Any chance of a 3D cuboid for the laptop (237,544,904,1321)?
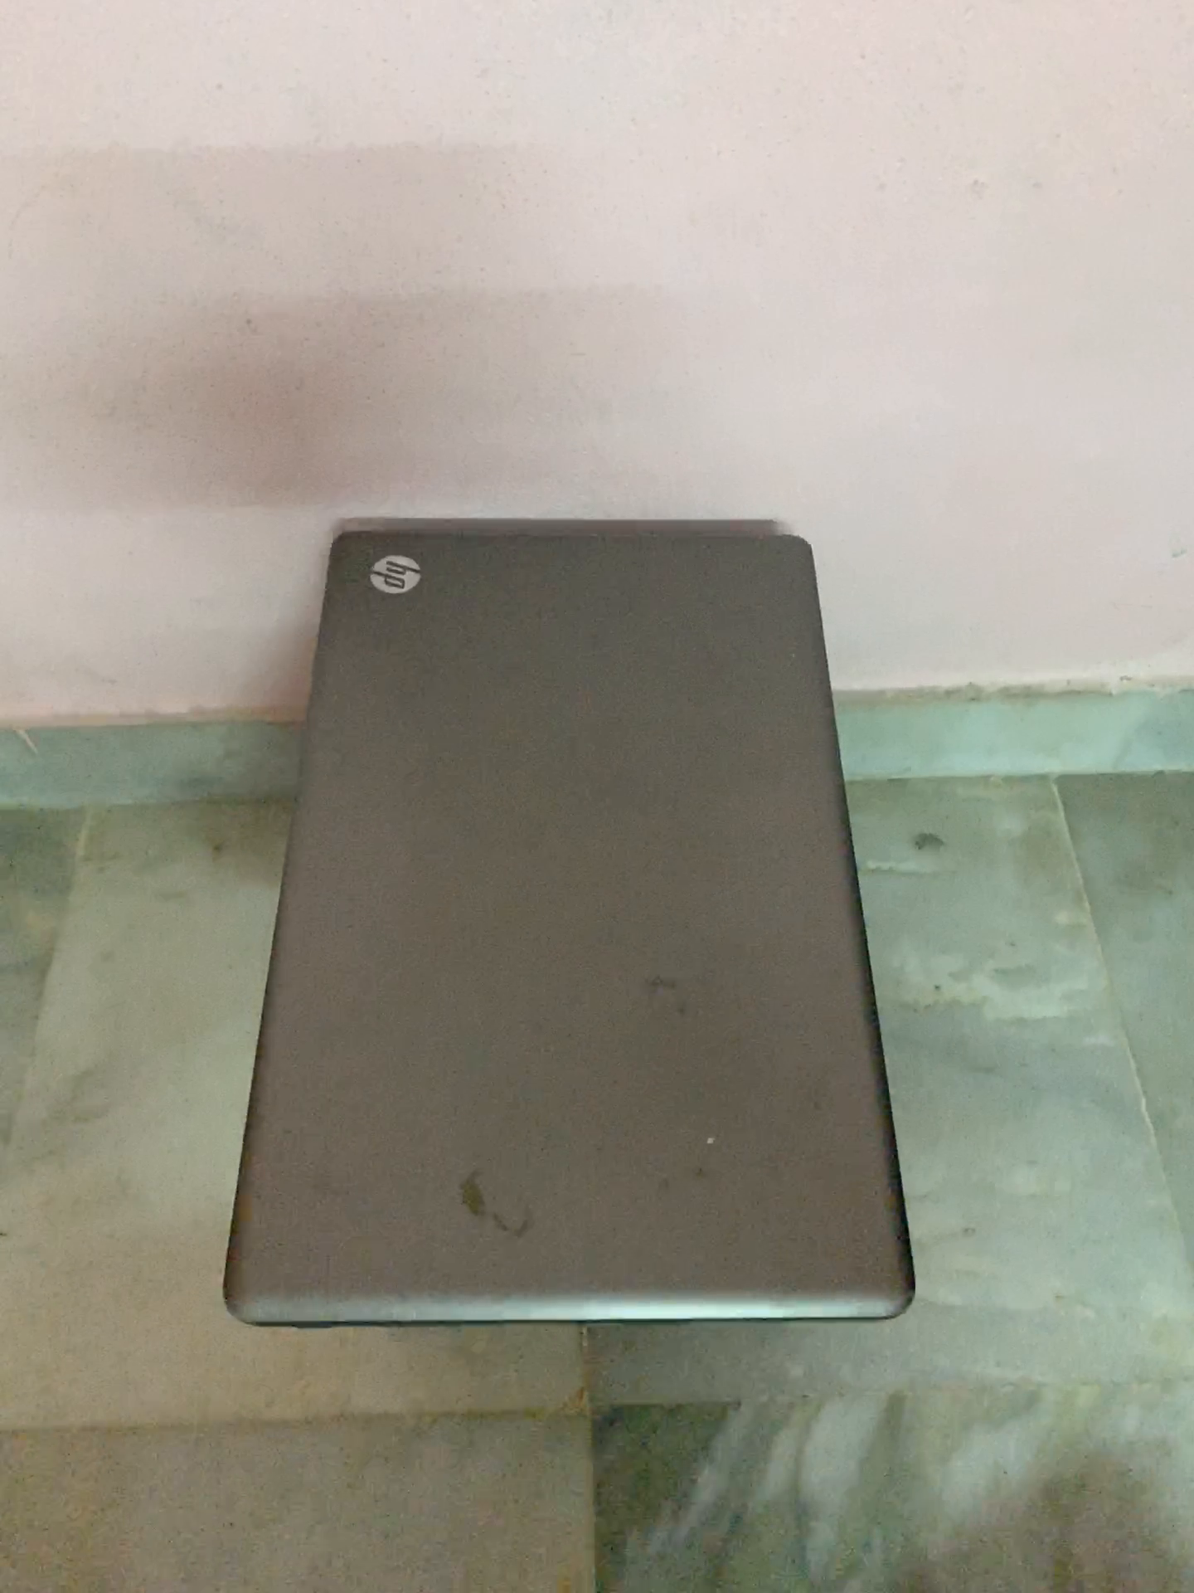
[{"bbox_3d":[-0.010,0.029,0.545,0.242,0.003,0.380,0,58,-1],"label":"laptop"}]
